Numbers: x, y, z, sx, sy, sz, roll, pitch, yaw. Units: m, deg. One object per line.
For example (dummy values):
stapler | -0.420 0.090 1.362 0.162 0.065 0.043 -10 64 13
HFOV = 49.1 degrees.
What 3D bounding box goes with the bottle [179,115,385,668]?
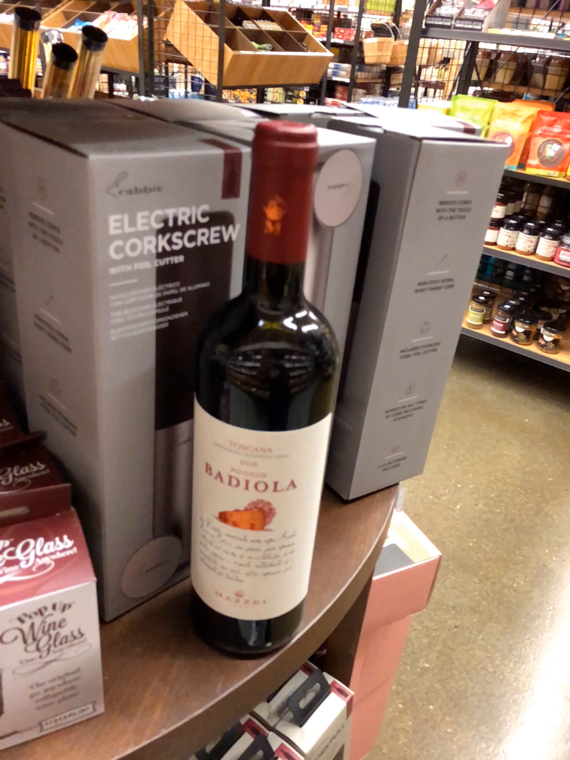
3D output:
bottle | -0.009 0.022 0.329 0.076 0.285 0.073 4 29 -2
